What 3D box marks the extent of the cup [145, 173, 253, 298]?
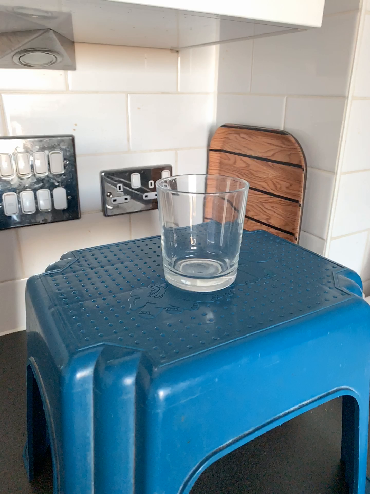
[{"bbox_3d":[0.007,-0.013,0.326,0.076,0.085,0.067,-3,22,-10],"label":"cup"}]
